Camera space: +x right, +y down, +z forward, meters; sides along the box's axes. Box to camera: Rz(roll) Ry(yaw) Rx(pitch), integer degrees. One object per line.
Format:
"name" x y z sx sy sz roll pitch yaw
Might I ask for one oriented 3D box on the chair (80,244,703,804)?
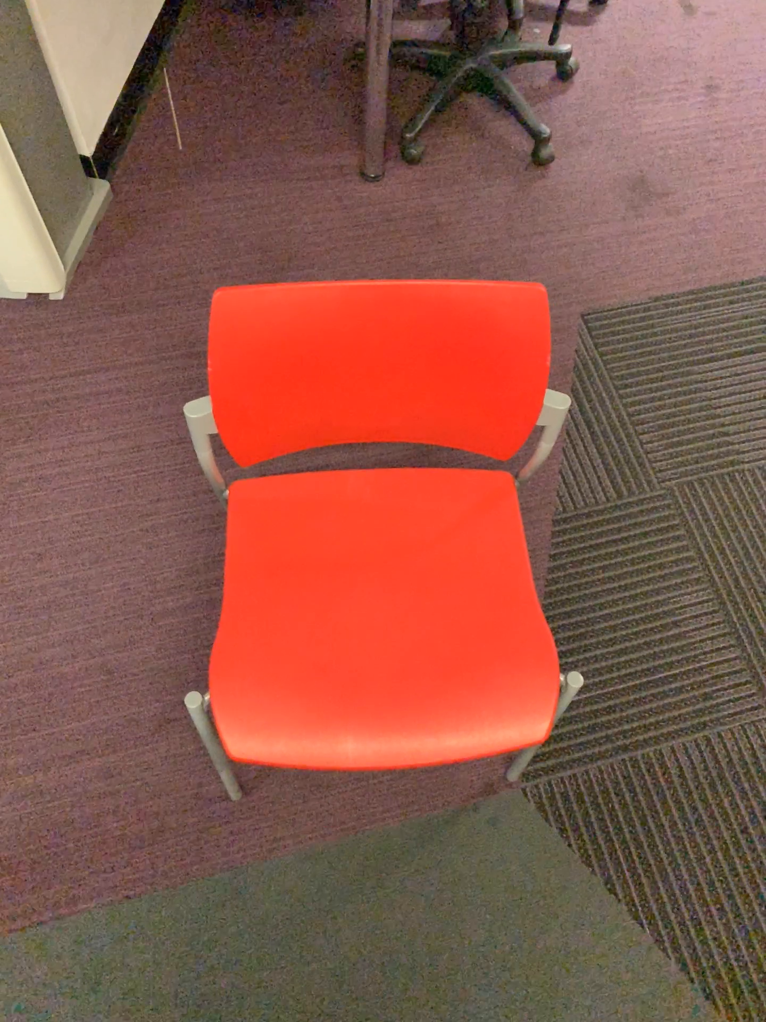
"chair" 0.007 0.085 1.108 0.540 0.686 0.563 0 64 0
